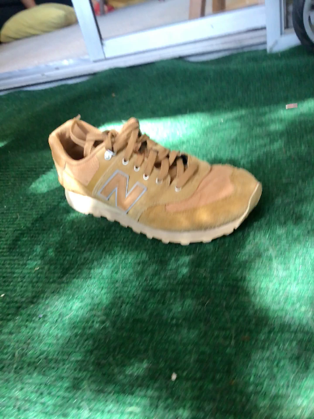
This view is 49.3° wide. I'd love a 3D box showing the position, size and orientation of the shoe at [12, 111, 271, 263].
[{"bbox_3d":[-0.019,-0.041,0.389,0.260,0.099,0.111,9,40,31],"label":"shoe"}]
